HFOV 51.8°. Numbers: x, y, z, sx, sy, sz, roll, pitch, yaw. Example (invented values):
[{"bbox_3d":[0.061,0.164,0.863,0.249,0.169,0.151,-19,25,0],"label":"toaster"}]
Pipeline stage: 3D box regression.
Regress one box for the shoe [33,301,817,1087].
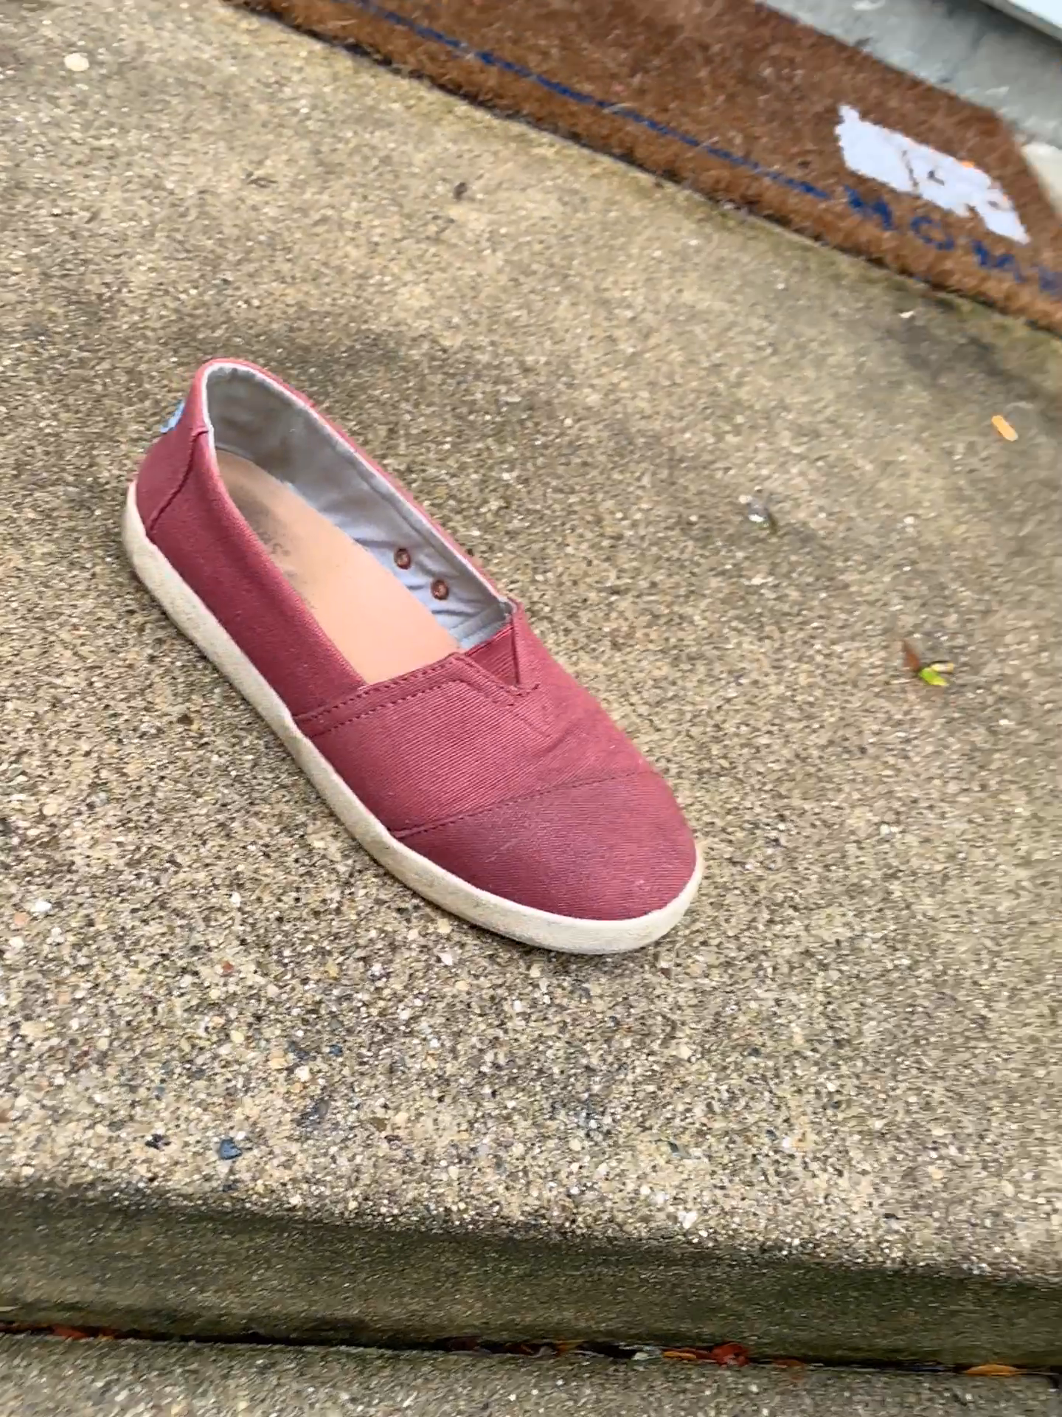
[{"bbox_3d":[-0.046,-0.015,0.383,0.265,0.089,0.098,44,47,11],"label":"shoe"}]
